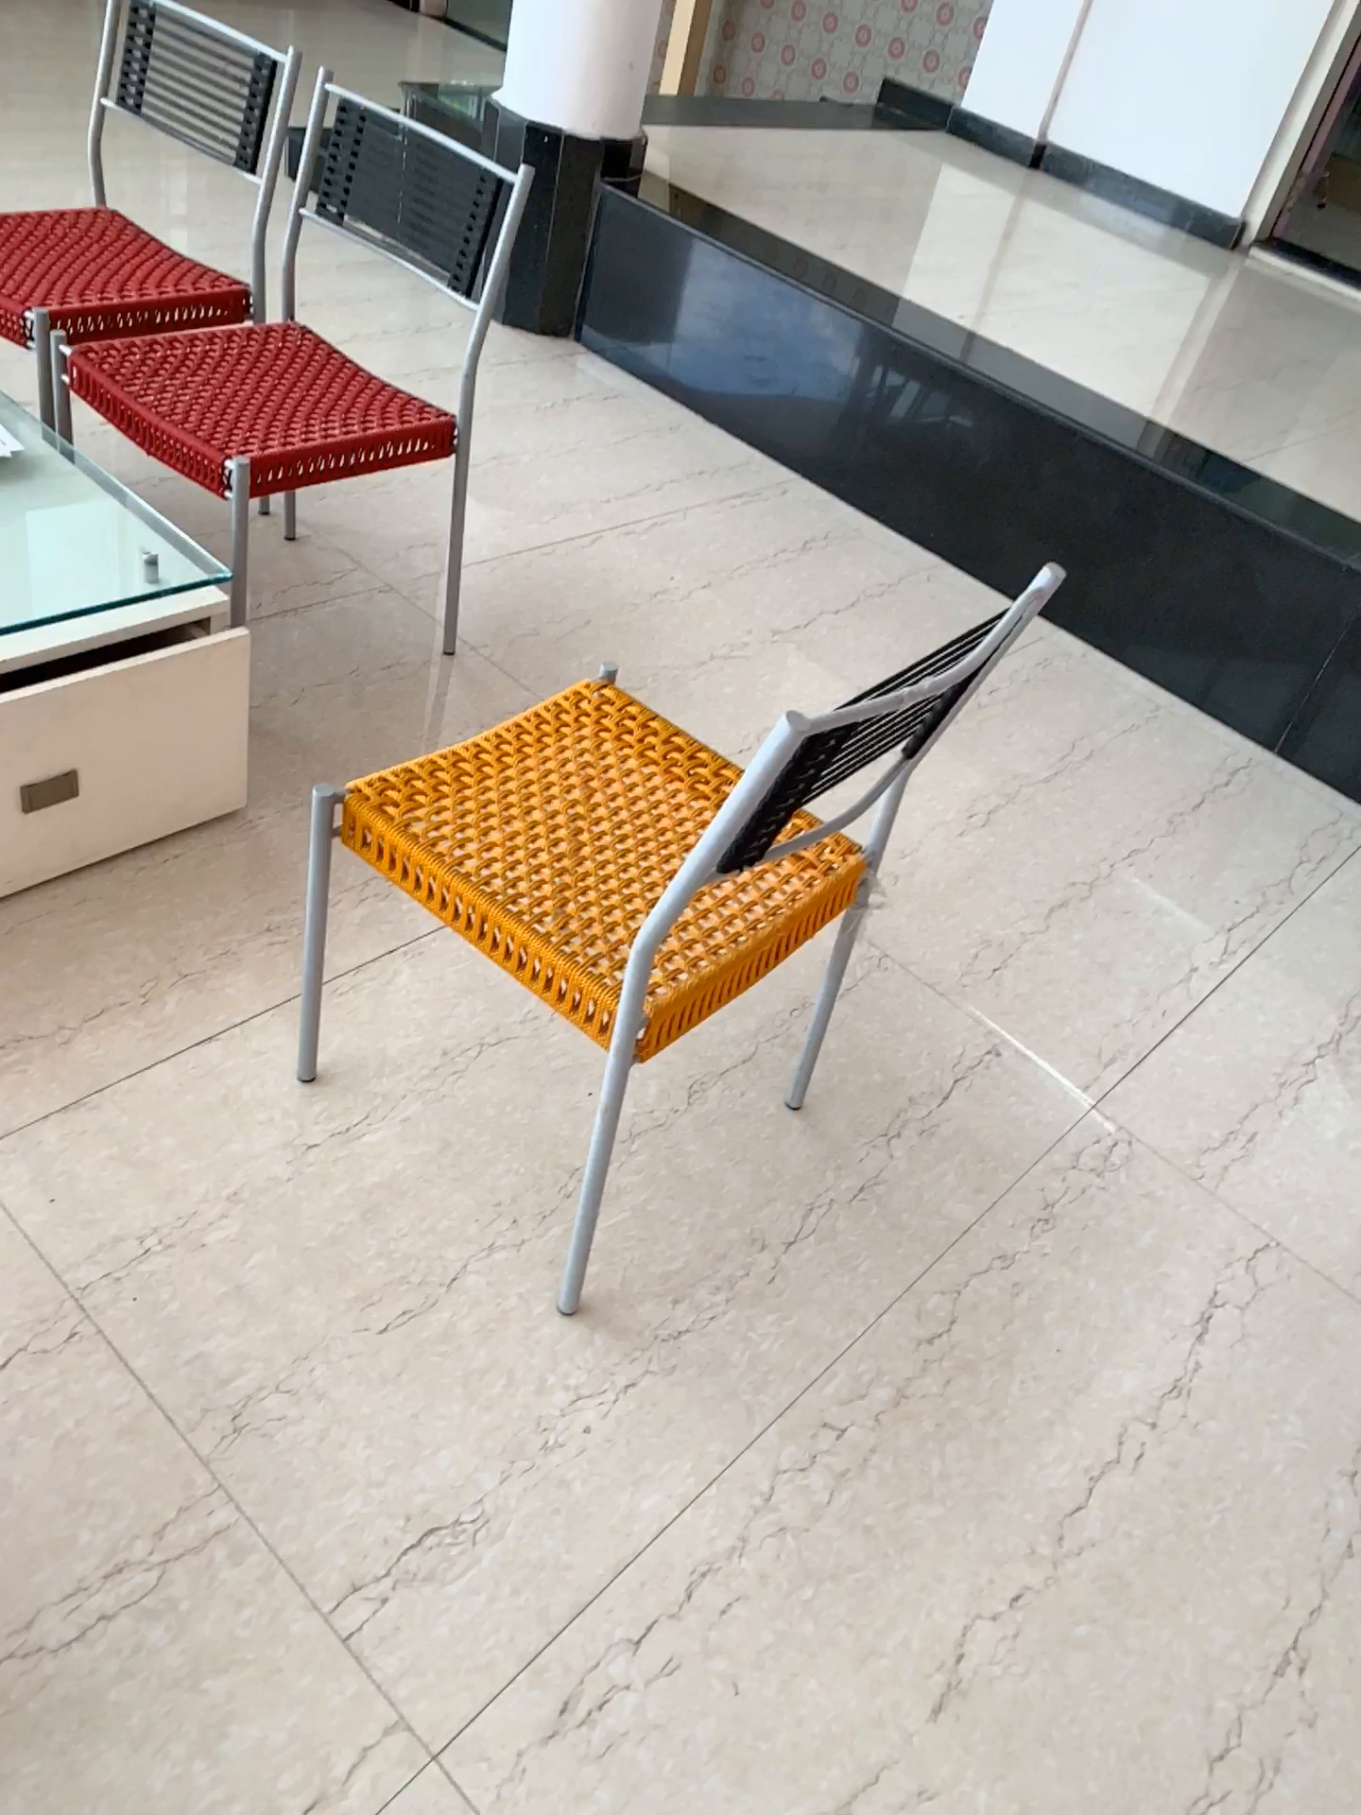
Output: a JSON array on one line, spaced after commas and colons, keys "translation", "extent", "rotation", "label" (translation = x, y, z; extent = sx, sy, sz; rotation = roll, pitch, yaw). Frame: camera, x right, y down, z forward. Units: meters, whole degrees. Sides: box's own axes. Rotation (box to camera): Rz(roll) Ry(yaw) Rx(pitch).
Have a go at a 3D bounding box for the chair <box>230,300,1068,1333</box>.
[{"translation": [-0.085, -0.107, 1.441], "extent": [0.511, 0.803, 0.523], "rotation": [36, 42, 23], "label": "chair"}]
